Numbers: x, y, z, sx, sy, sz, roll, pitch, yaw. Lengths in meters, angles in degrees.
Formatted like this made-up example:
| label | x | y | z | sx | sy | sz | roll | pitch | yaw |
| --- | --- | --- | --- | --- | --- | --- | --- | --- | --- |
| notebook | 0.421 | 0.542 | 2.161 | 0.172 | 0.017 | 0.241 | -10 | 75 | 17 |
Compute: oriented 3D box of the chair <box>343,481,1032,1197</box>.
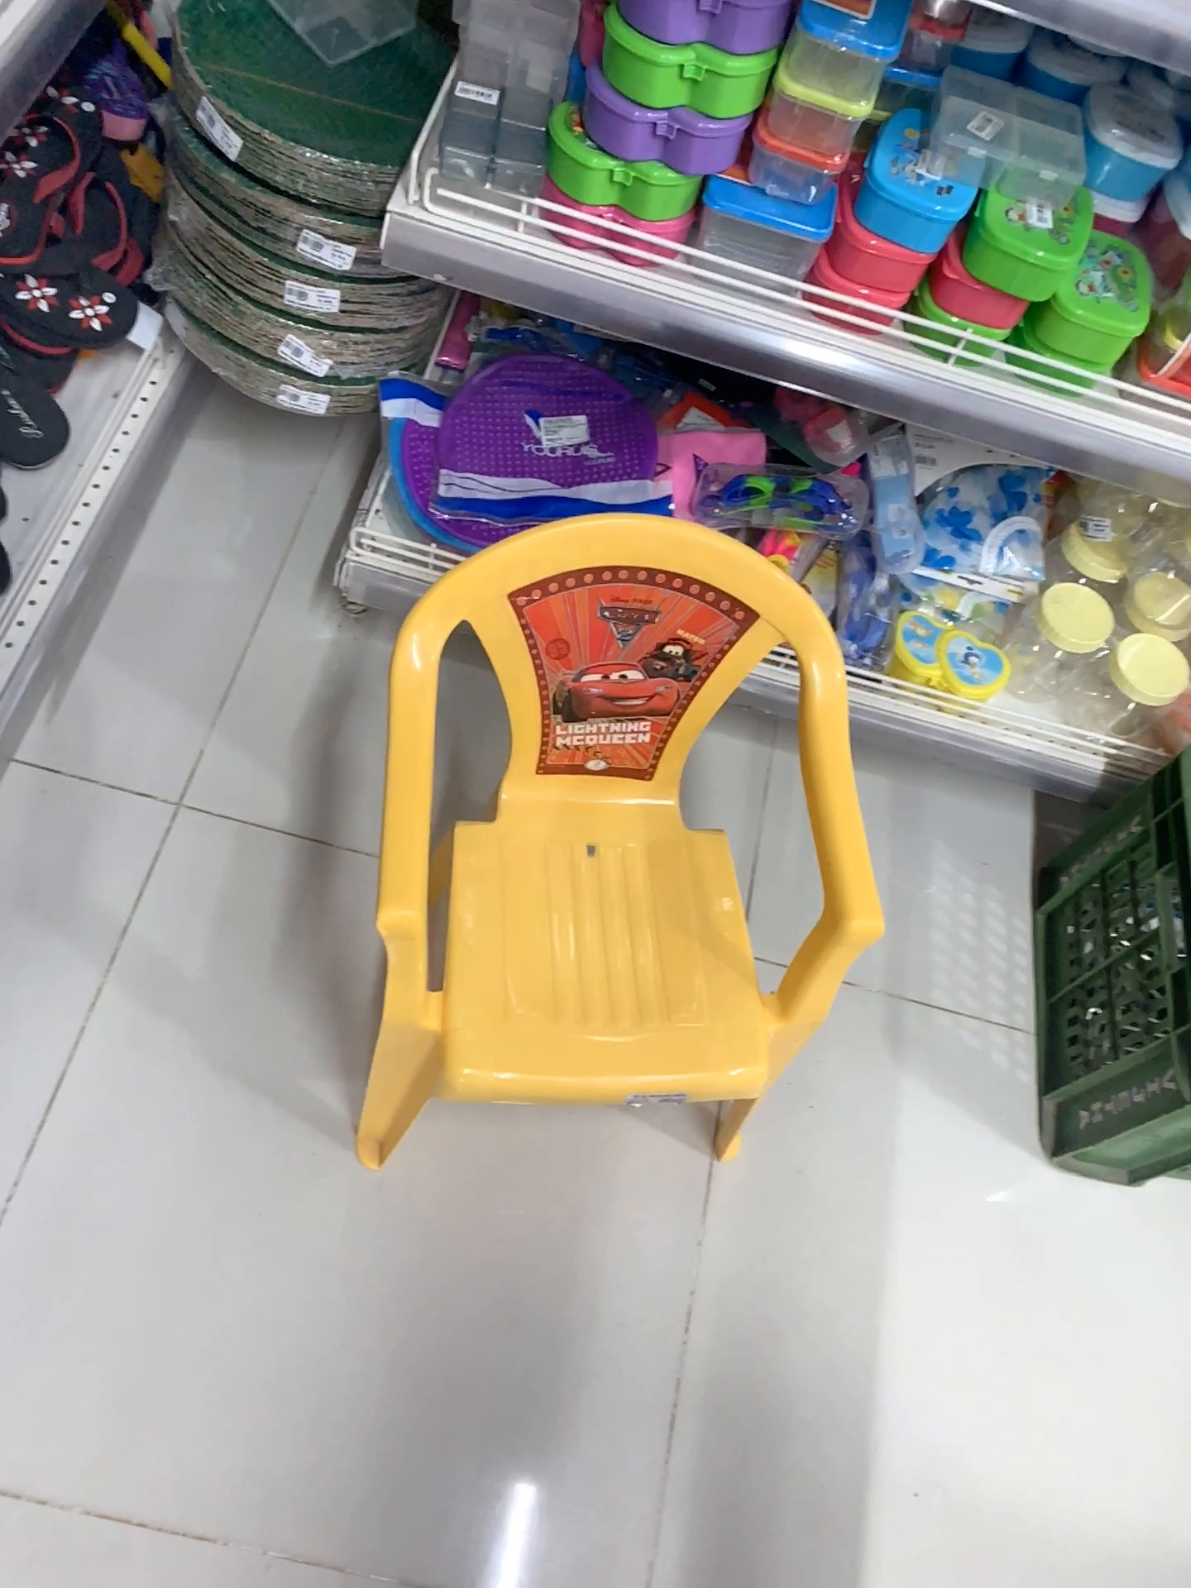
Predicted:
| label | x | y | z | sx | sy | sz | roll | pitch | yaw |
| --- | --- | --- | --- | --- | --- | --- | --- | --- | --- |
| chair | 0.006 | 0.081 | 0.966 | 0.390 | 0.499 | 0.370 | 2 | 62 | -11 |
